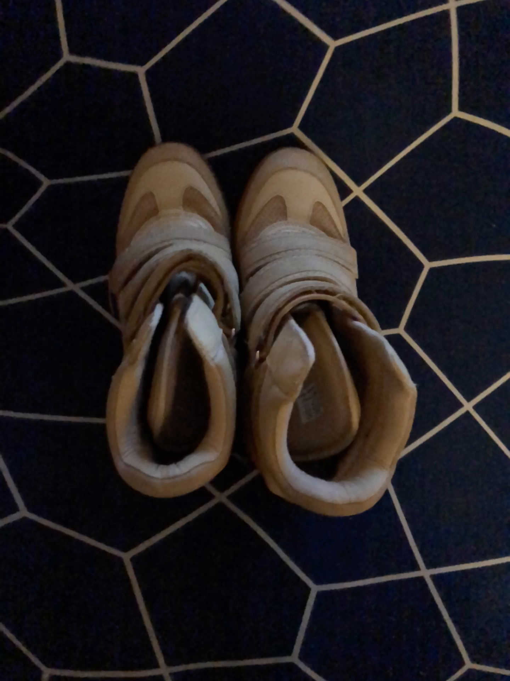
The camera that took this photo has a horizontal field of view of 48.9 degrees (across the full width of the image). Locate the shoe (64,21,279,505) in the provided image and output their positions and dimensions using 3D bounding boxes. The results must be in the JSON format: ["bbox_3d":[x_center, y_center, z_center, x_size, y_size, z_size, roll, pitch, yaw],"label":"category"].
[{"bbox_3d":[-0.053,-0.039,0.359,0.100,0.140,0.260,-3,78,-6],"label":"shoe"}]

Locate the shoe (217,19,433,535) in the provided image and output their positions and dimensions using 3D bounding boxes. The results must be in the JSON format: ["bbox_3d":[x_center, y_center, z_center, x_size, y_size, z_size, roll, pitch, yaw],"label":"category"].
[{"bbox_3d":[0.029,-0.032,0.358,0.100,0.130,0.280,1,77,-5],"label":"shoe"}]
